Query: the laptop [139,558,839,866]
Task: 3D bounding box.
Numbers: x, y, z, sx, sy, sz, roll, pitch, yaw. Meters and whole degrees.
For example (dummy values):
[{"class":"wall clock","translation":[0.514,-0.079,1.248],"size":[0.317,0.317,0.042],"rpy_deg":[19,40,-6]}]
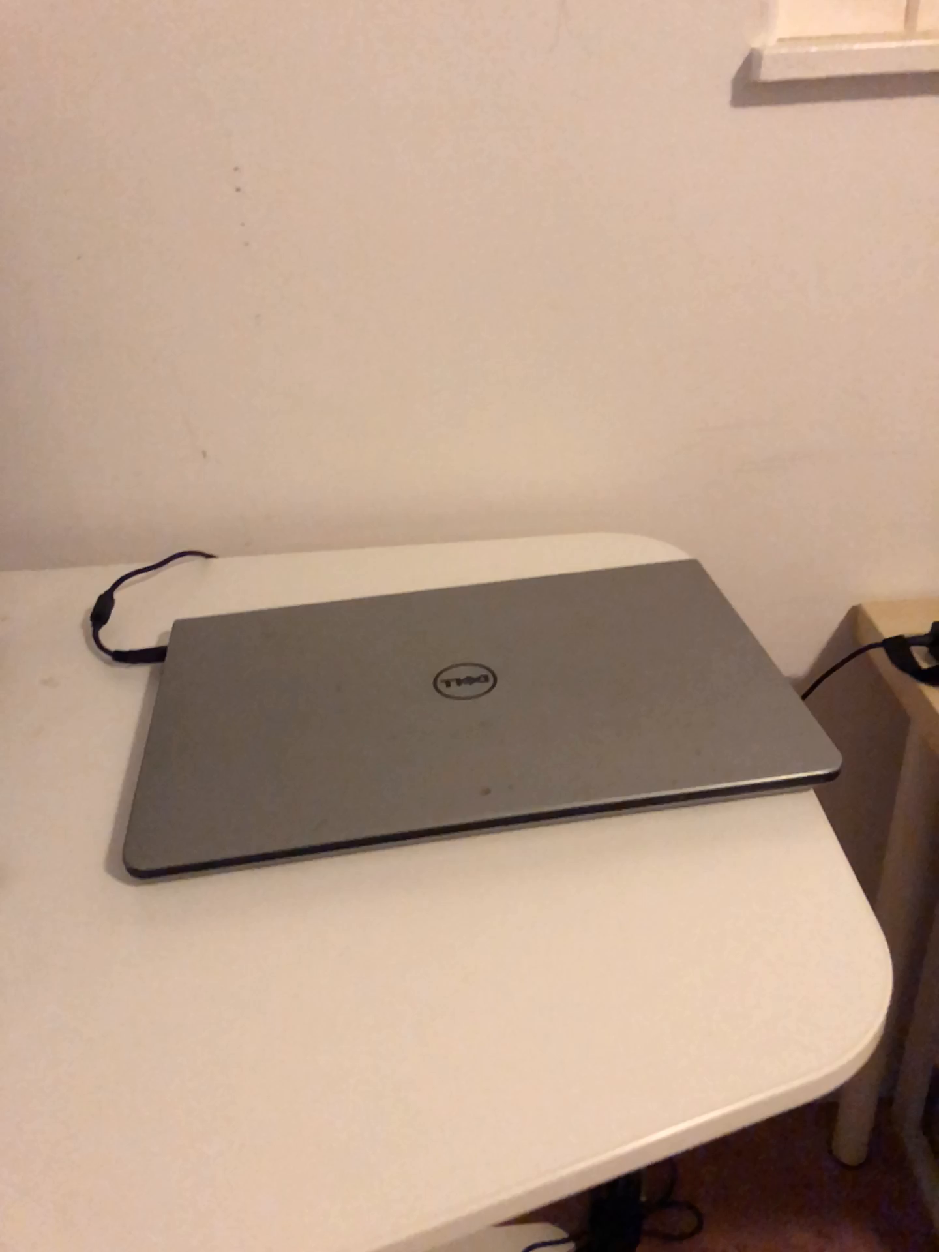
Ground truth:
[{"class":"laptop","translation":[-0.003,0.036,0.642],"size":[0.371,0.001,0.248],"rpy_deg":[-8,31,-4]}]
